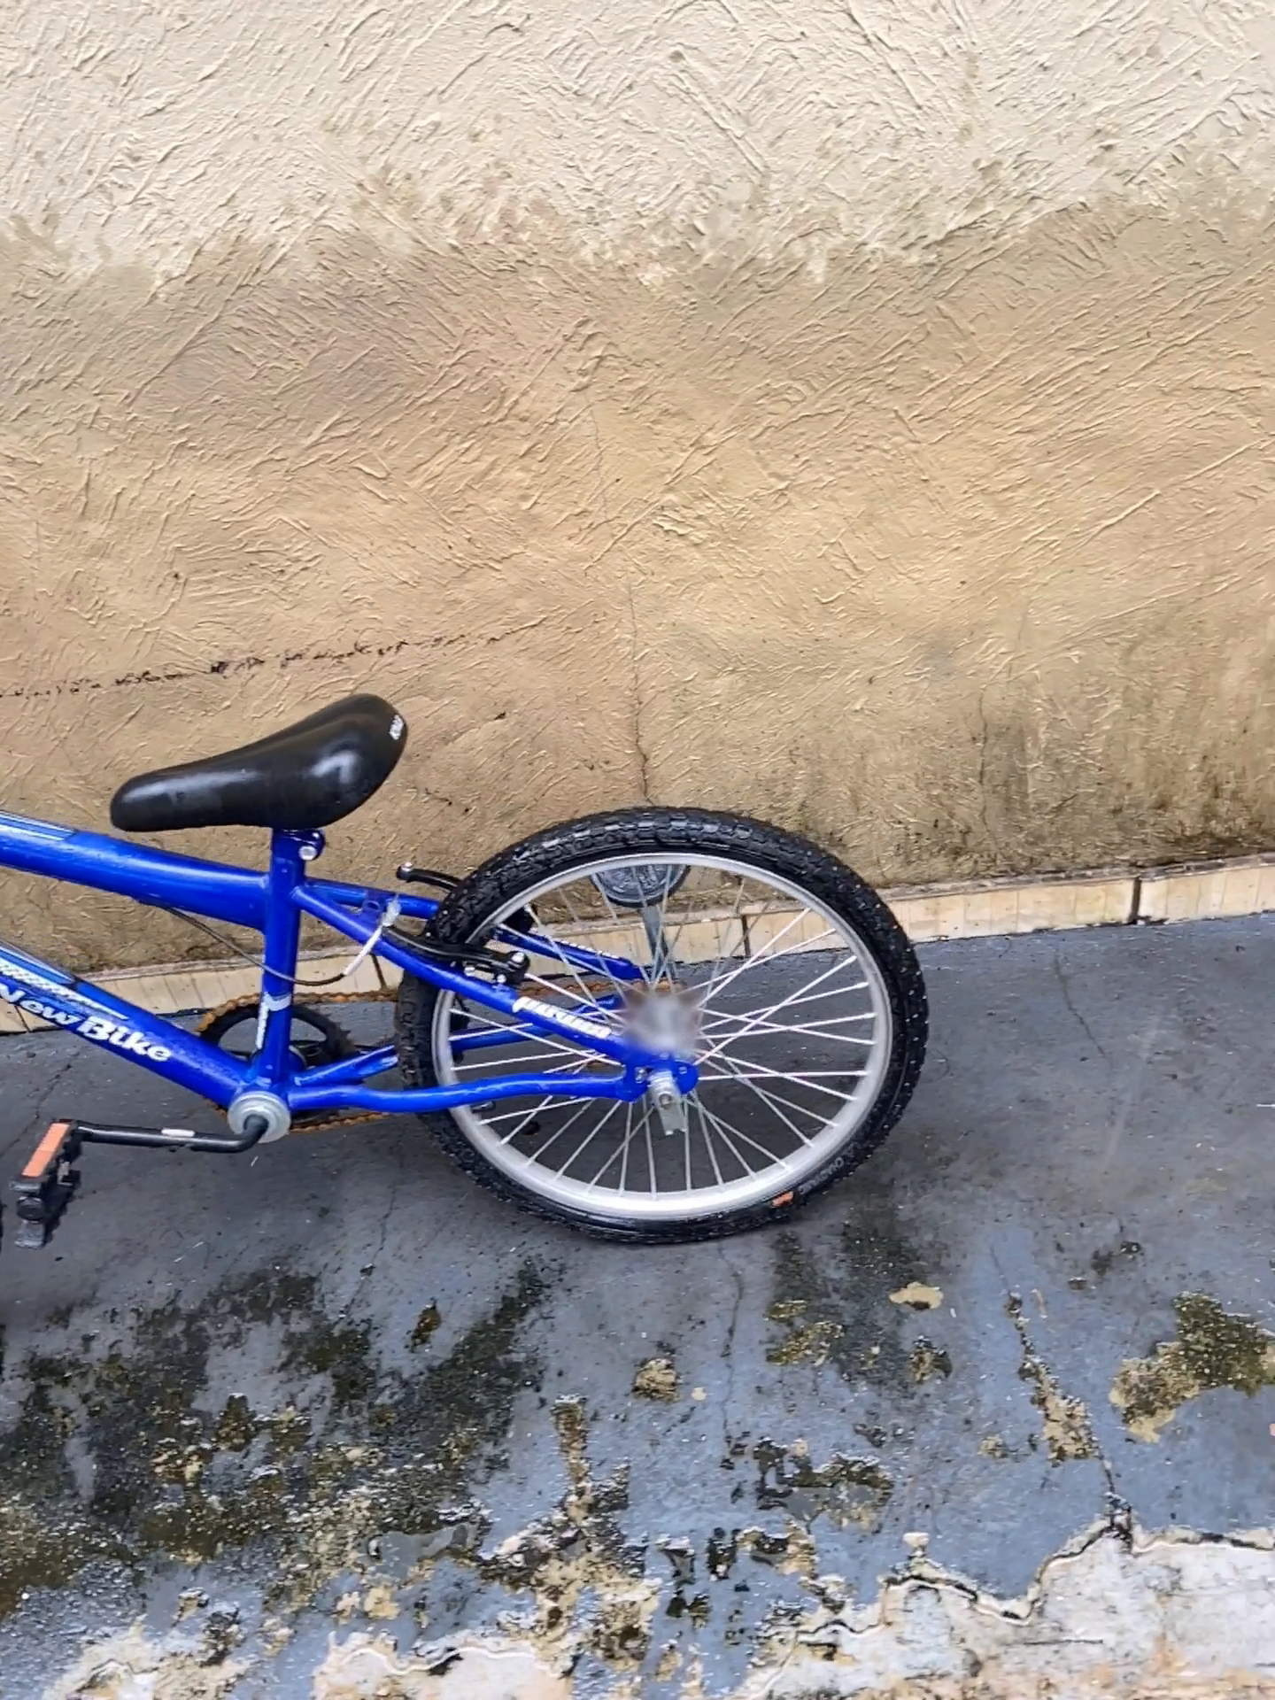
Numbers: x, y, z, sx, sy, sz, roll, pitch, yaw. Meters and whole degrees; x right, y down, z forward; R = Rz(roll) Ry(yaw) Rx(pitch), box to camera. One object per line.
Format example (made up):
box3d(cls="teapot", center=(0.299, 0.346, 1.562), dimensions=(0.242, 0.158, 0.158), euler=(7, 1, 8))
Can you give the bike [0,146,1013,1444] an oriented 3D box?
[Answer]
box3d(cls="bike", center=(-0.409, -0.011, 1.094), dimensions=(1.249, 0.849, 0.546), euler=(-5, 37, 3))
